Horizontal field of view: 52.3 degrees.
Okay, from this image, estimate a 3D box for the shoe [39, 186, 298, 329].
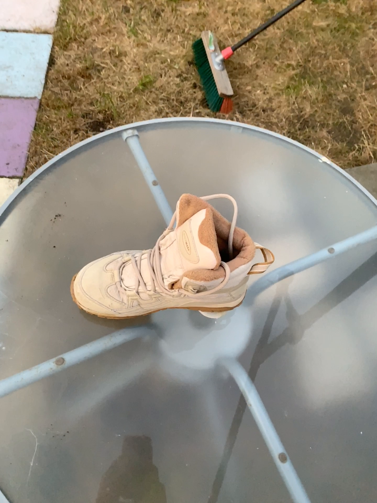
[{"bbox_3d":[-0.028,0.021,0.532,0.280,0.199,0.121,1,64,-6],"label":"shoe"}]
